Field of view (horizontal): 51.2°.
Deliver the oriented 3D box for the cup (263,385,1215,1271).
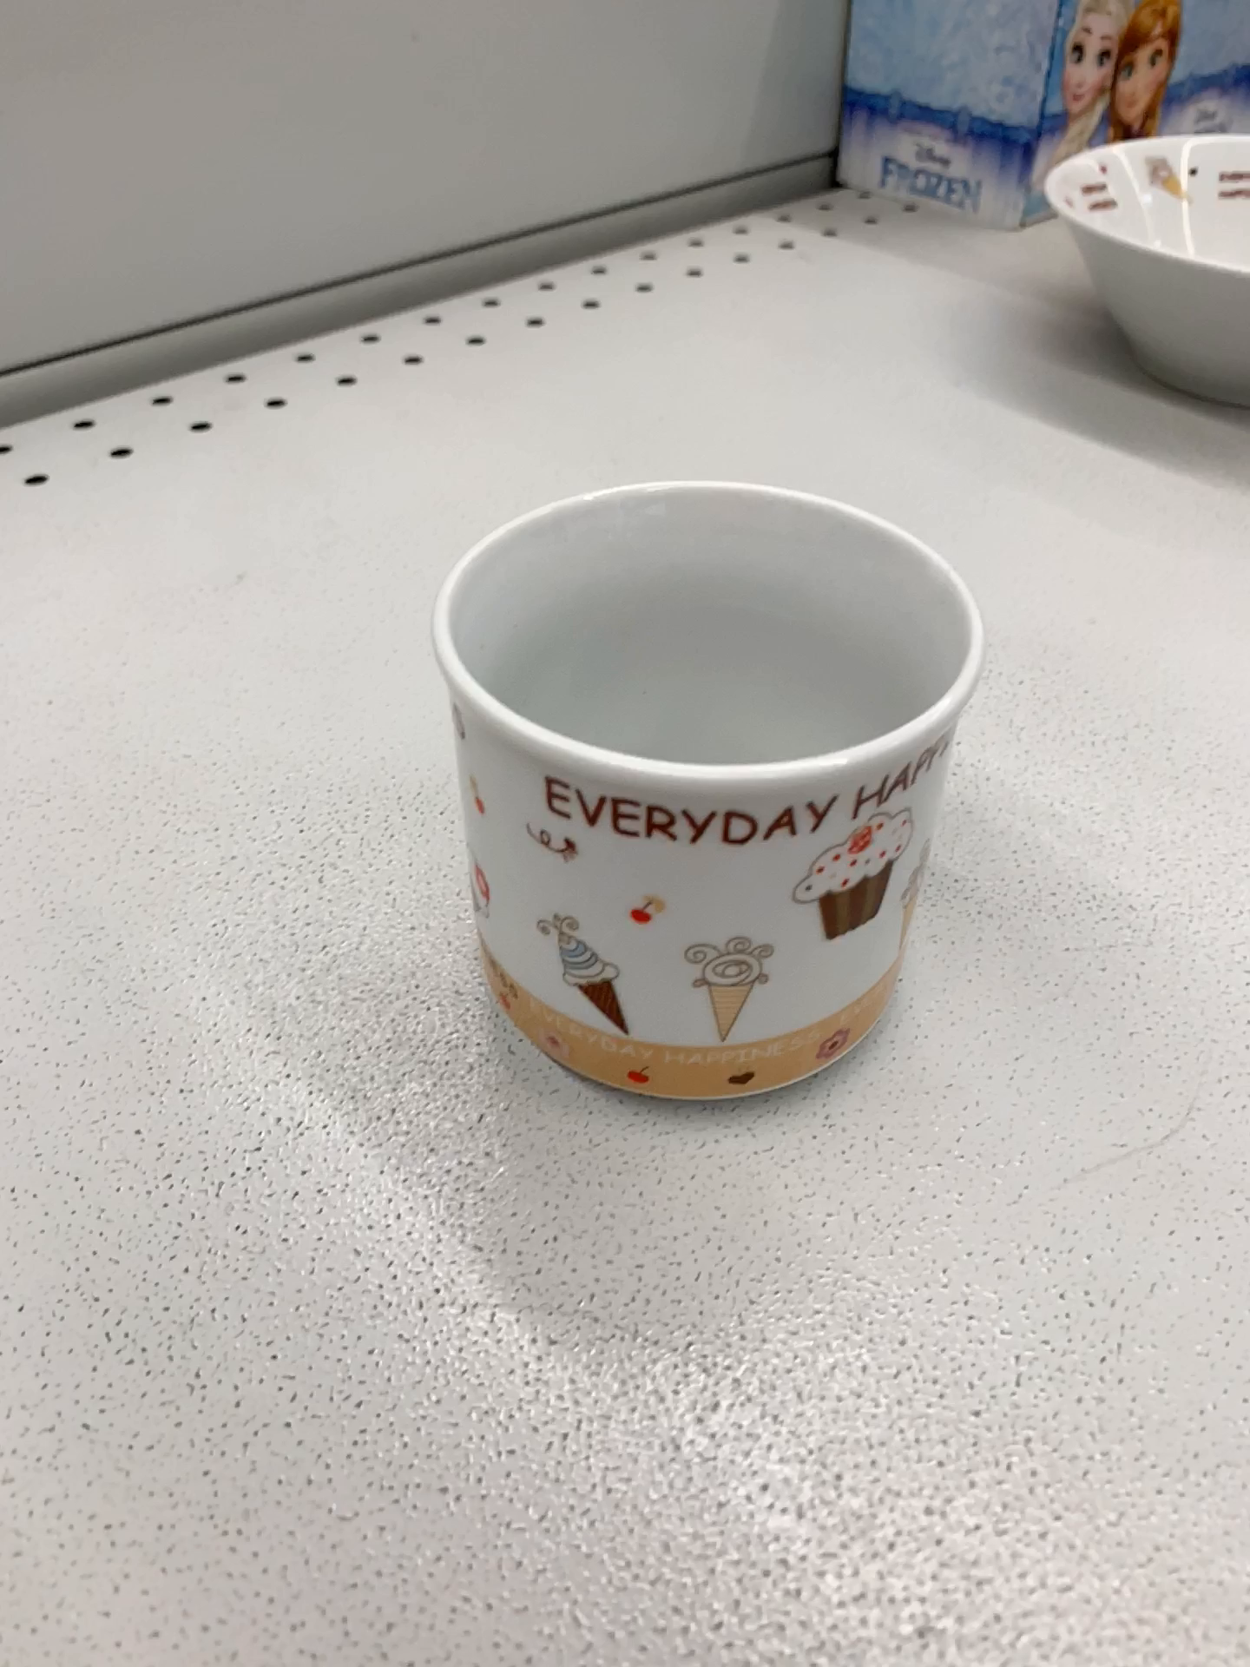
[{"bbox_3d":[0.018,-0.010,0.204,0.109,0.069,0.079,-30,50,-30],"label":"cup"}]
